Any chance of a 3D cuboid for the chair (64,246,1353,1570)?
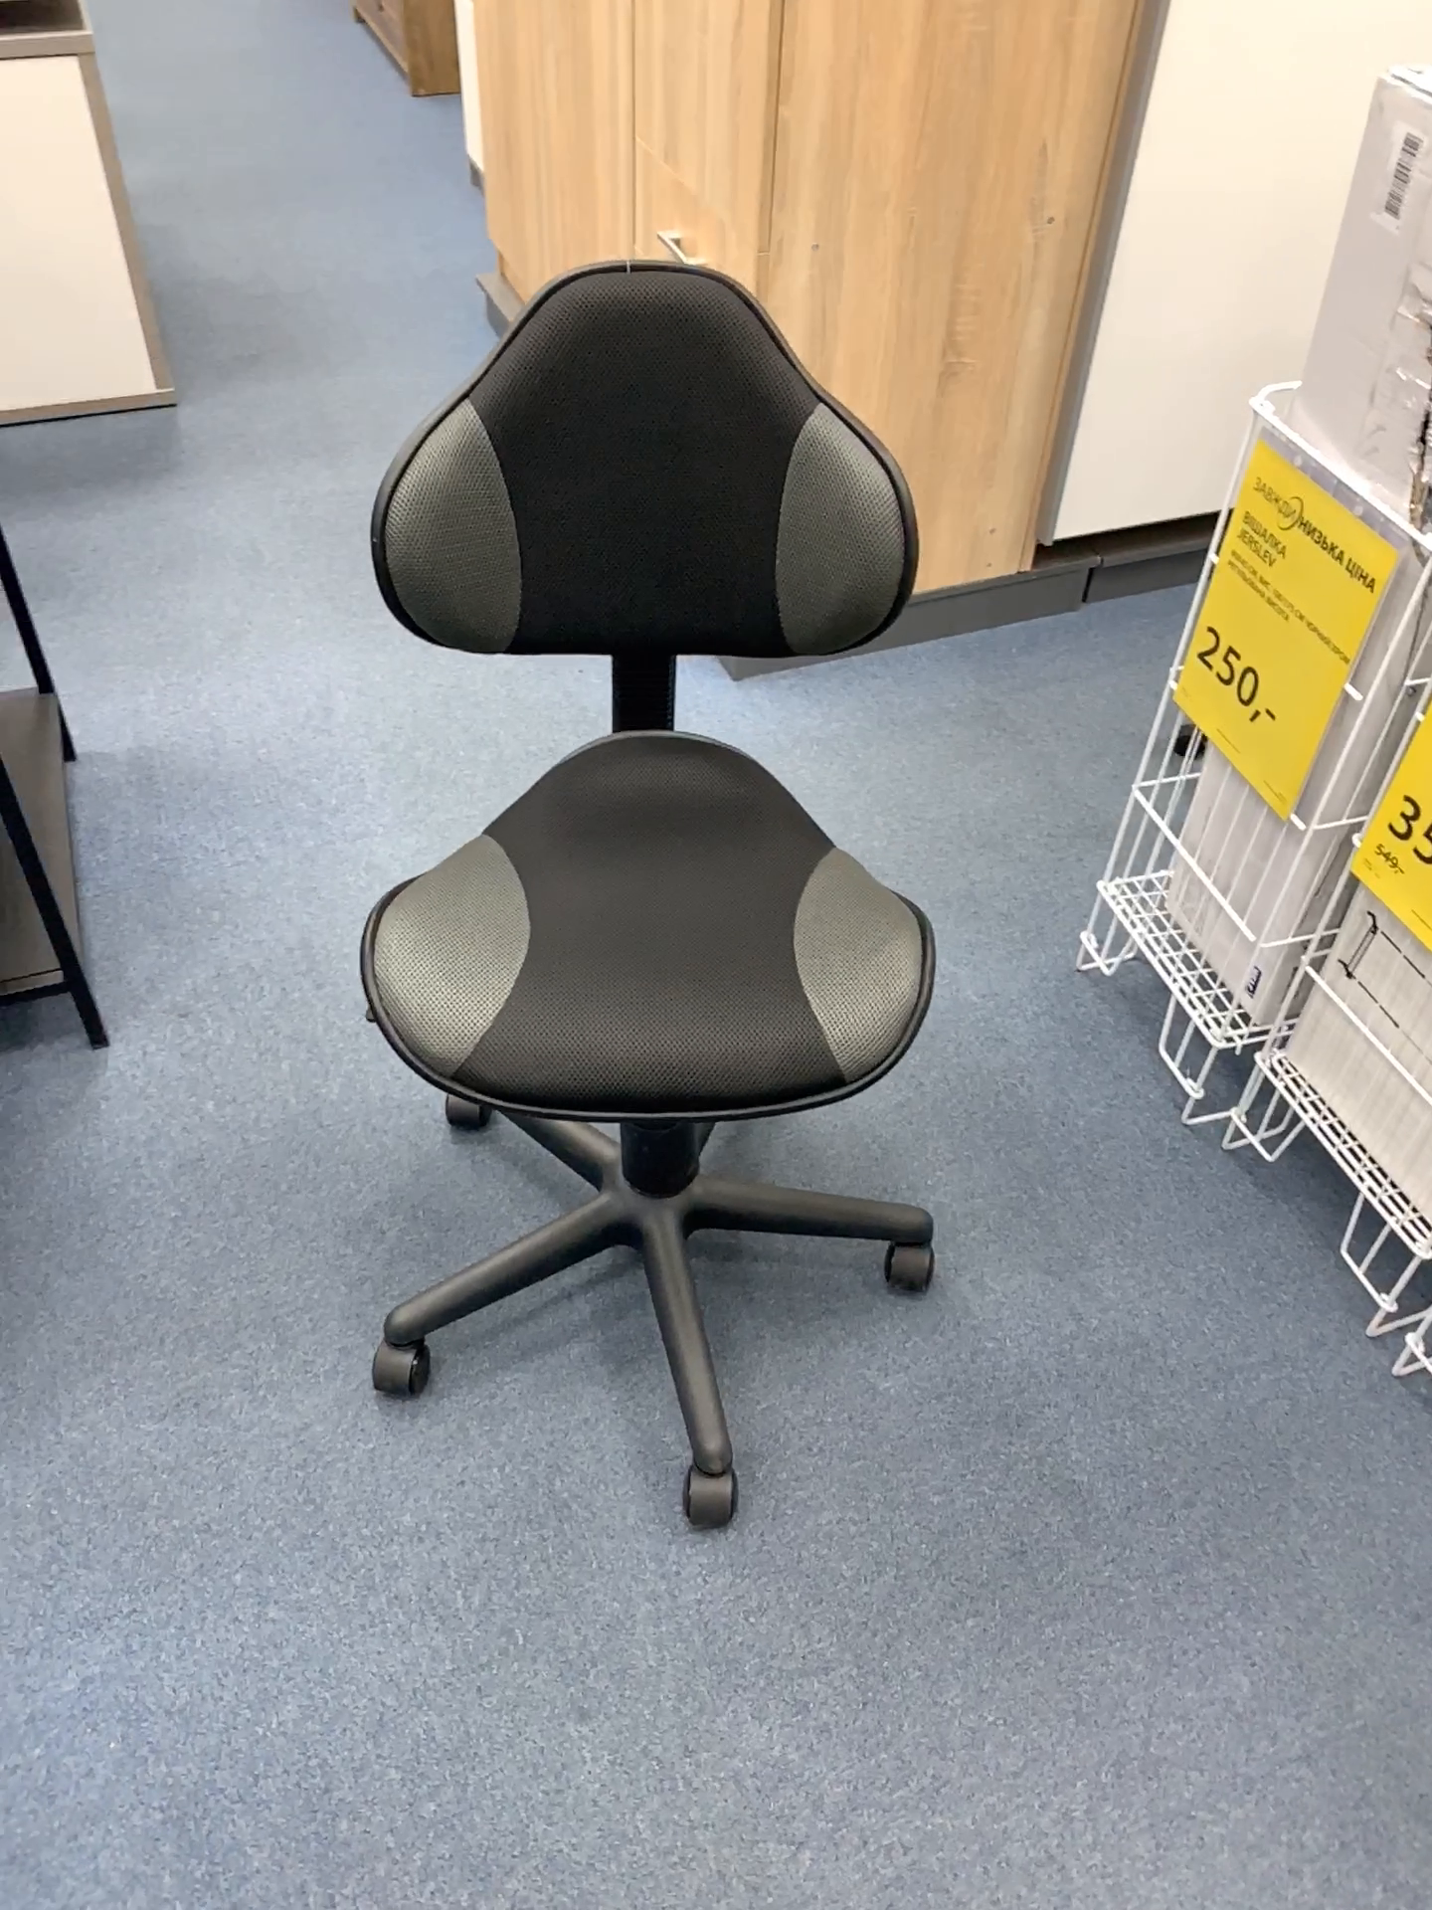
[{"bbox_3d":[-0.030,-0.007,1.280,0.630,0.916,0.693,0,45,-4],"label":"chair"}]
